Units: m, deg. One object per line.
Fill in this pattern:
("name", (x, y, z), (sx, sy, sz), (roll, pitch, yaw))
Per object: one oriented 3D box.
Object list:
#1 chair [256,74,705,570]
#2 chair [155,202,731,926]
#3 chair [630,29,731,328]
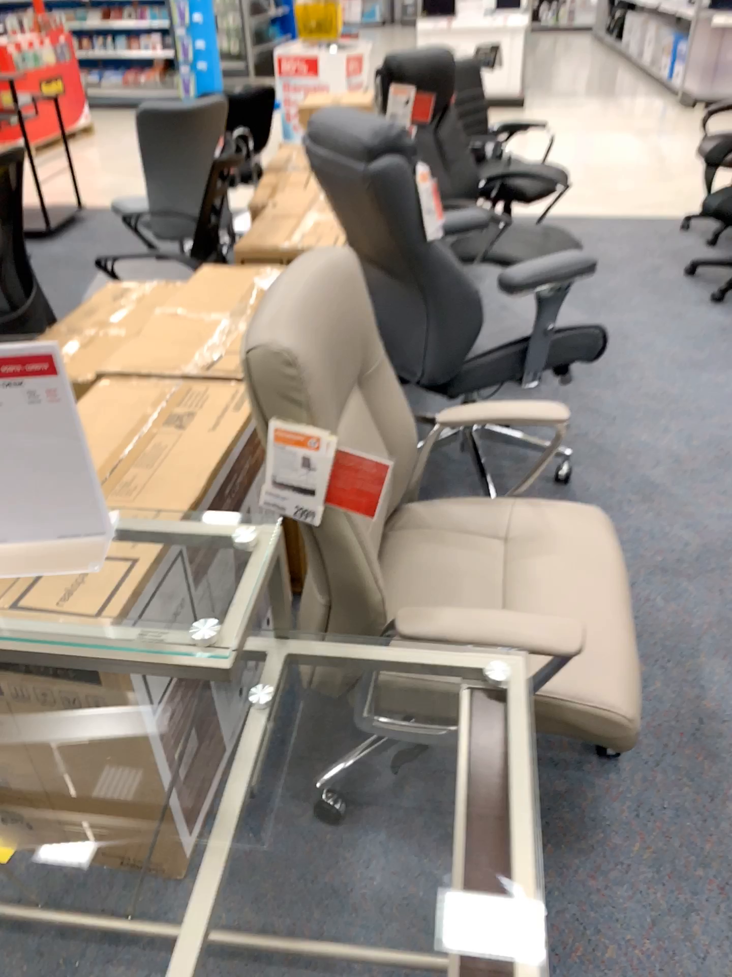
("chair", (0.240, -0.522, 2.169), (0.814, 1.055, 0.815), (-14, 36, -17))
("chair", (0.181, 0.098, 1.307), (0.674, 0.956, 0.695), (5, 35, 10))
("chair", (1.927, -1.451, 3.438), (0.935, 1.016, 0.814), (-23, 40, -28))
